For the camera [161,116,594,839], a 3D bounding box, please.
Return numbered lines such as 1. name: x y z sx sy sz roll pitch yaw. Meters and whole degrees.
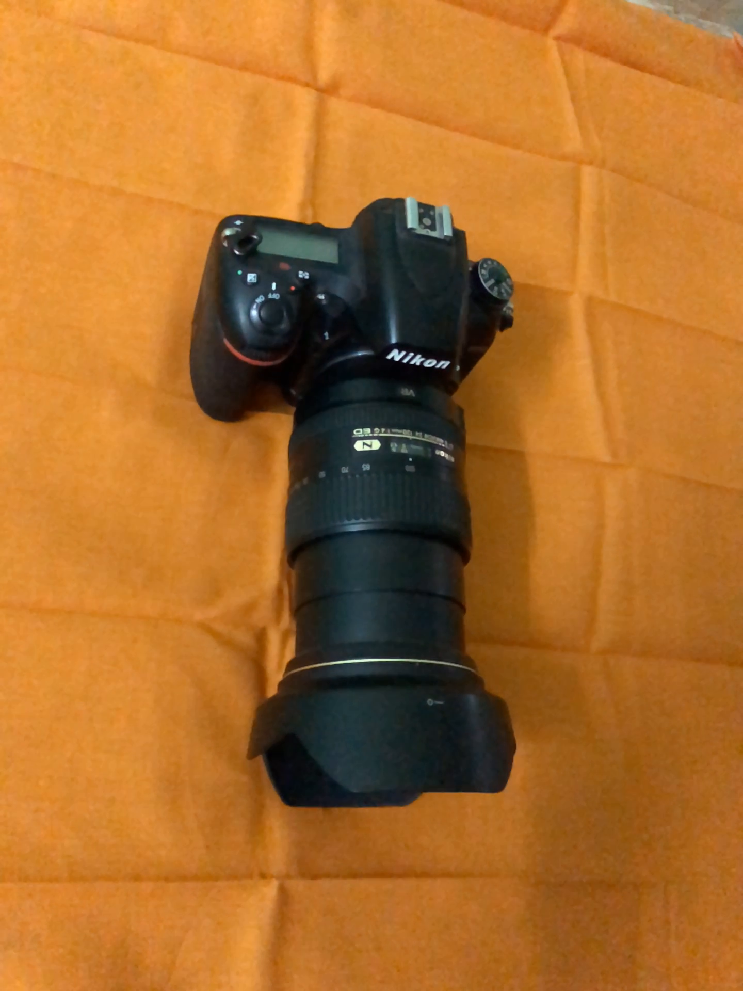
1. camera: -0.011 -0.001 0.355 0.131 0.120 0.264 5 69 -19
